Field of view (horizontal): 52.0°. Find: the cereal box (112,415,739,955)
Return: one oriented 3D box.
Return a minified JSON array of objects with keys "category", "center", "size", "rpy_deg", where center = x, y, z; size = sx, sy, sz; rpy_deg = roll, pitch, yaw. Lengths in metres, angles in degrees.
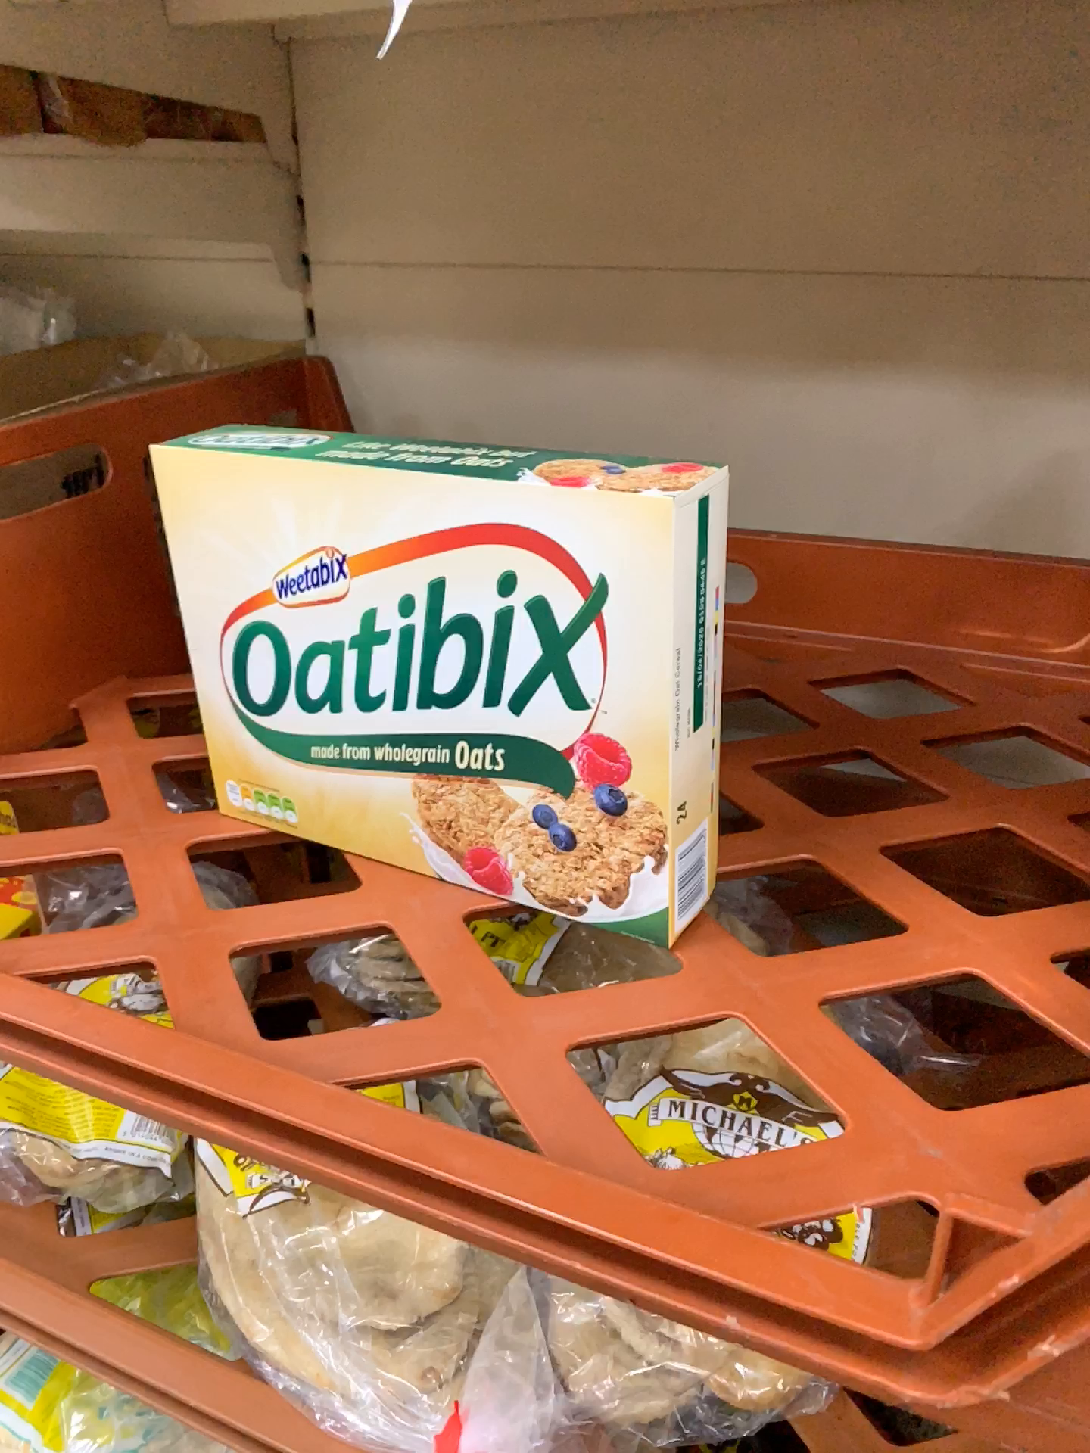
[{"category":"cereal box","center":[-0.055,-0.031,0.487],"size":[0.260,0.178,0.070],"rpy_deg":[12,28,28]}]
